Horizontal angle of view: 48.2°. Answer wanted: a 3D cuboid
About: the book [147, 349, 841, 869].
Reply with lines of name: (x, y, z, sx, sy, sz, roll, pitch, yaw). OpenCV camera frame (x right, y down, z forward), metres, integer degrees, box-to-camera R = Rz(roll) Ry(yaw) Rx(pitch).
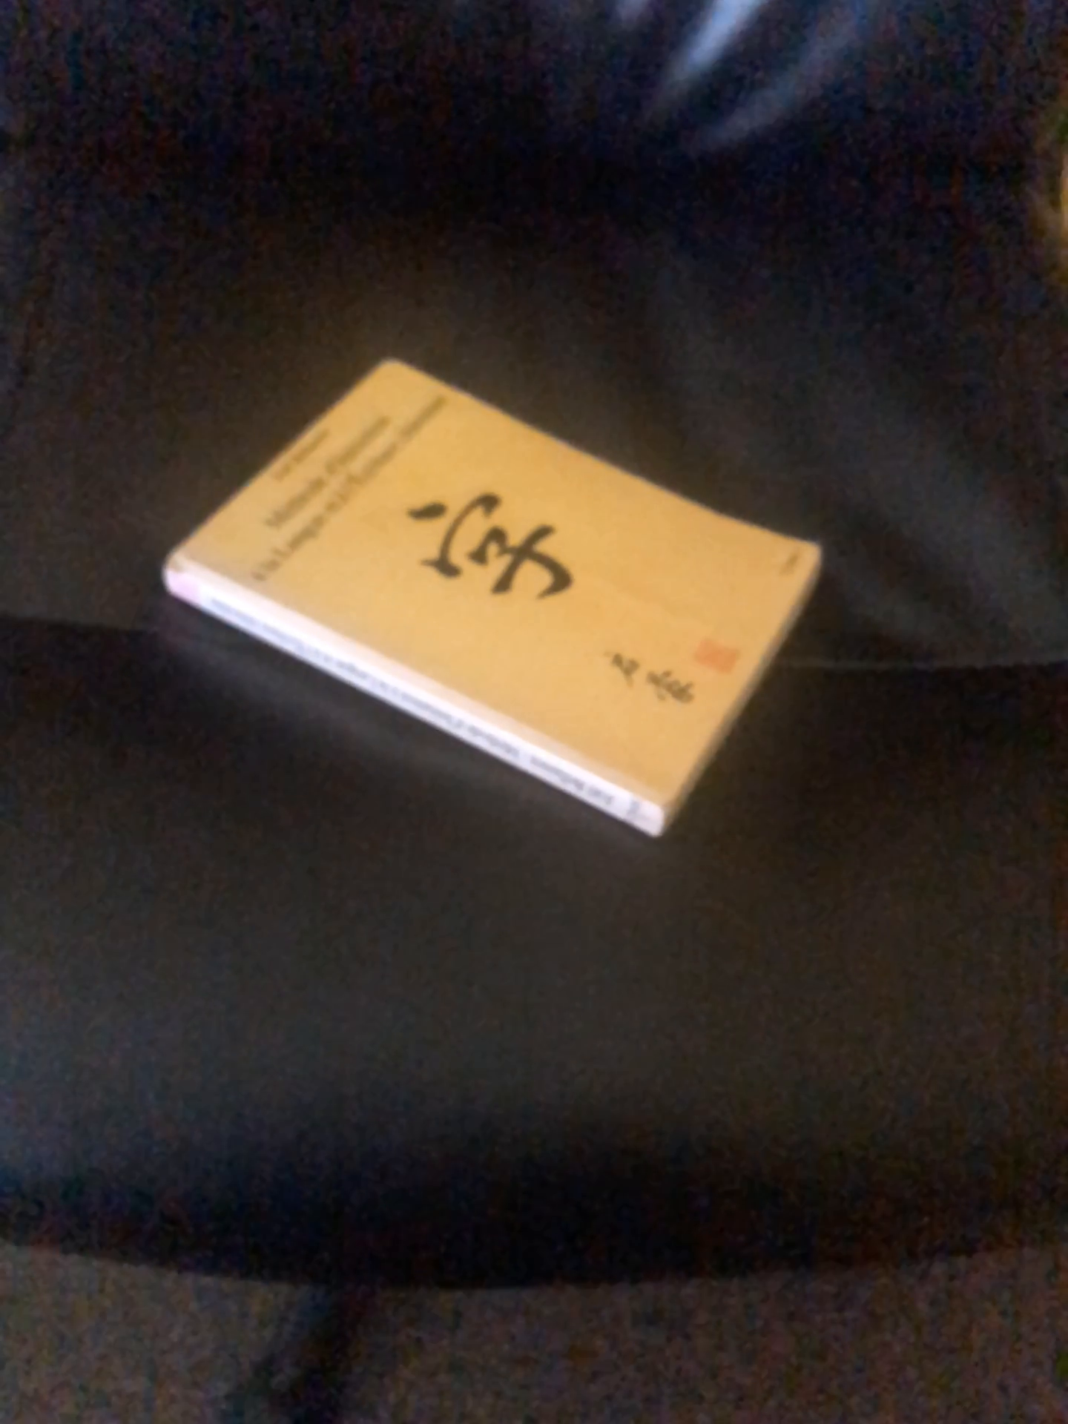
book: (-0.013, -0.054, 0.472, 0.220, 0.028, 0.153, 26, 57, 17)
